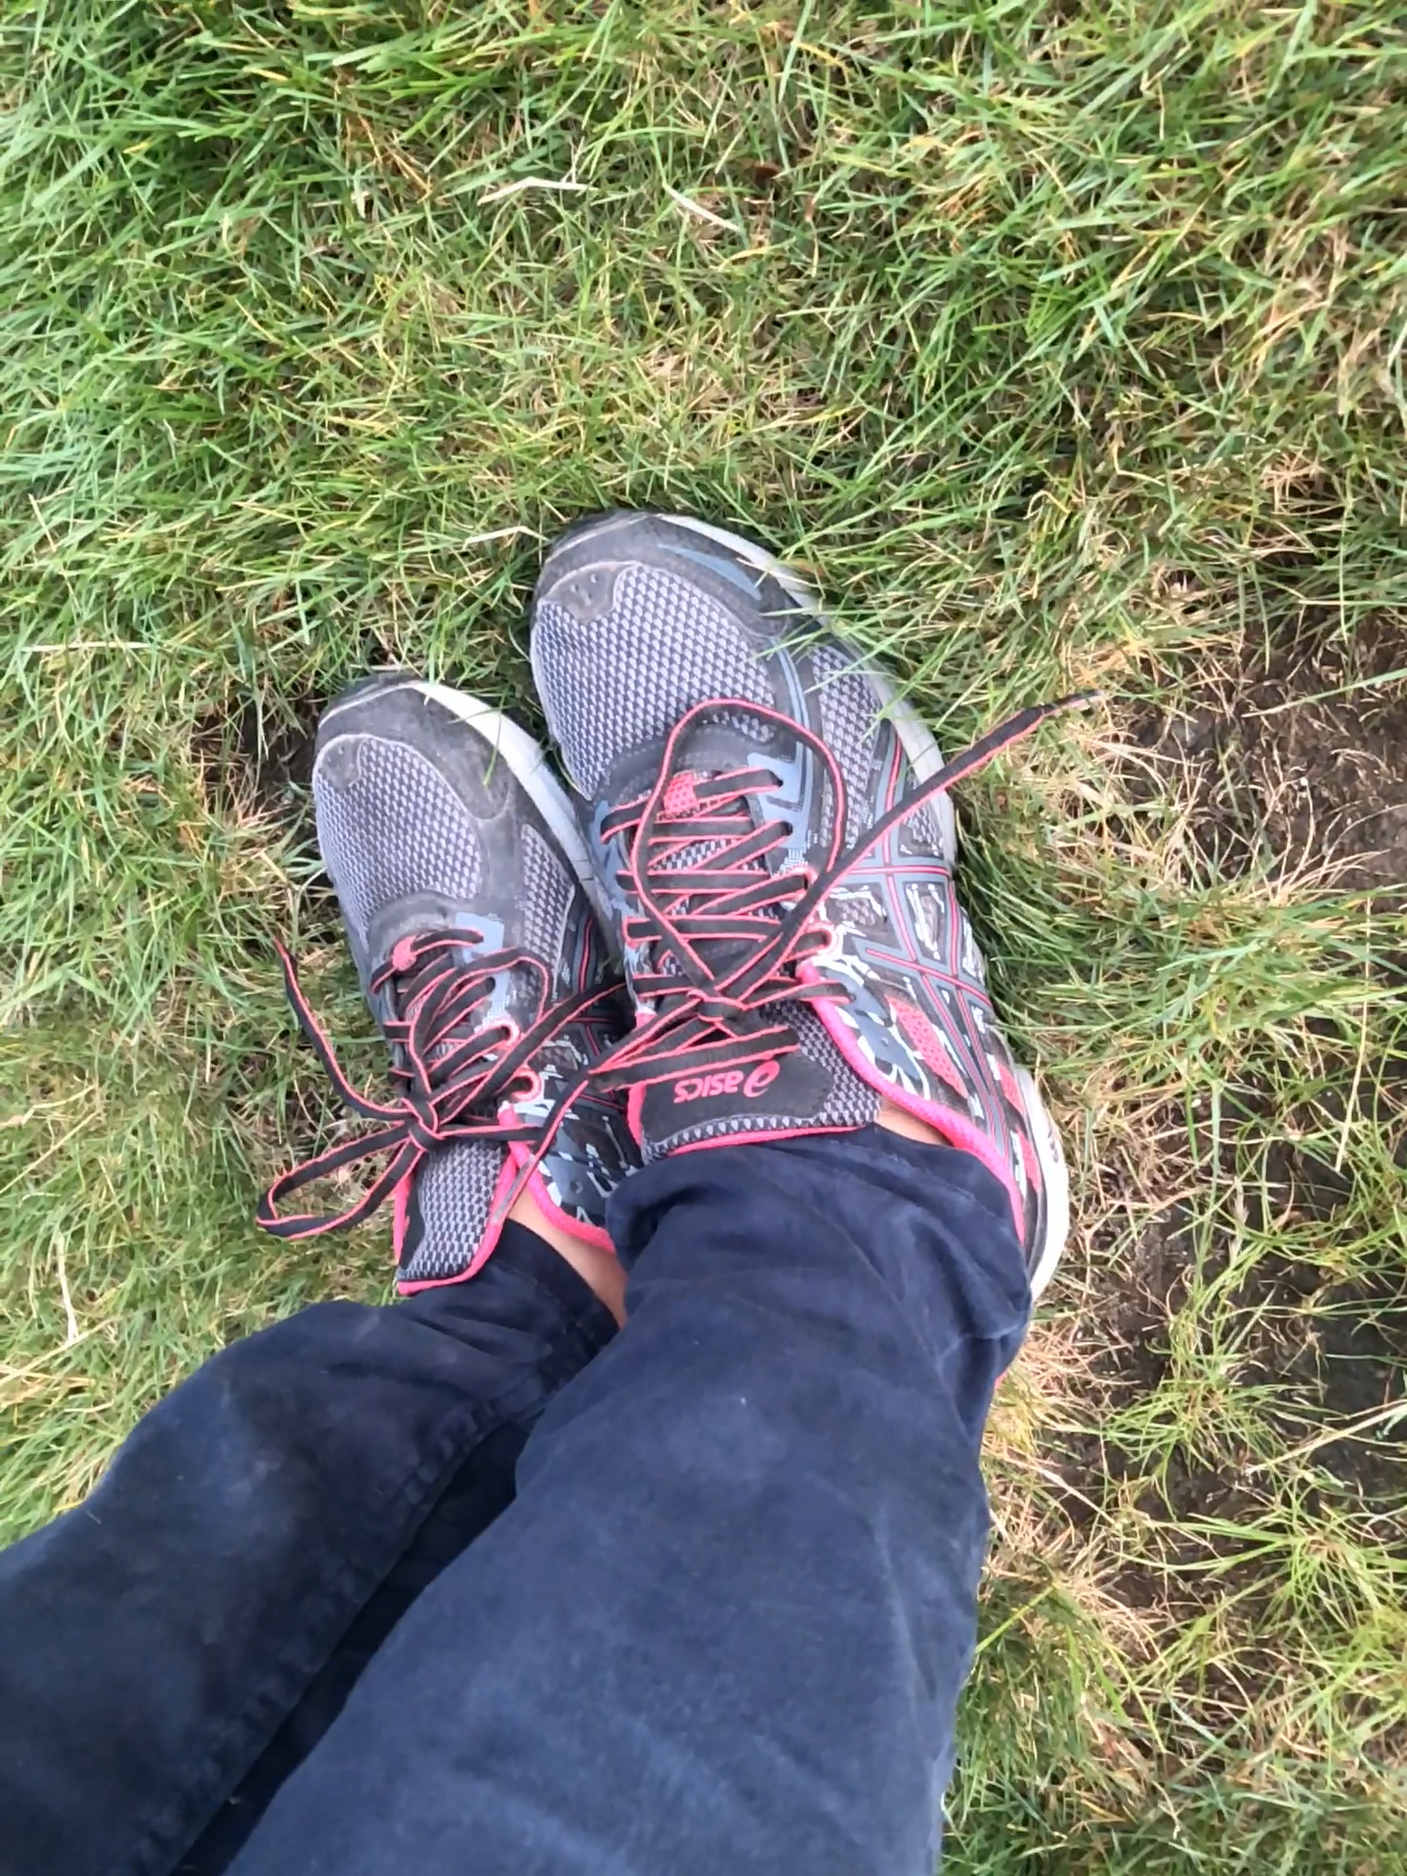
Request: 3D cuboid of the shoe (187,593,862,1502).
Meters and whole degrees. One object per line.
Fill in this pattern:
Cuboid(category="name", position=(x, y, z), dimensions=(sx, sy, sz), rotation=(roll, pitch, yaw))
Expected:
Cuboid(category="shoe", position=(-0.049, 0.028, 0.485), dimensions=(0.088, 0.120, 0.245), rotation=(-19, 90, 28))

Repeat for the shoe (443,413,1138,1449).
Cuboid(category="shoe", position=(0.034, -0.004, 0.444), dimensions=(0.090, 0.120, 0.250), rotation=(-18, 93, 25))
